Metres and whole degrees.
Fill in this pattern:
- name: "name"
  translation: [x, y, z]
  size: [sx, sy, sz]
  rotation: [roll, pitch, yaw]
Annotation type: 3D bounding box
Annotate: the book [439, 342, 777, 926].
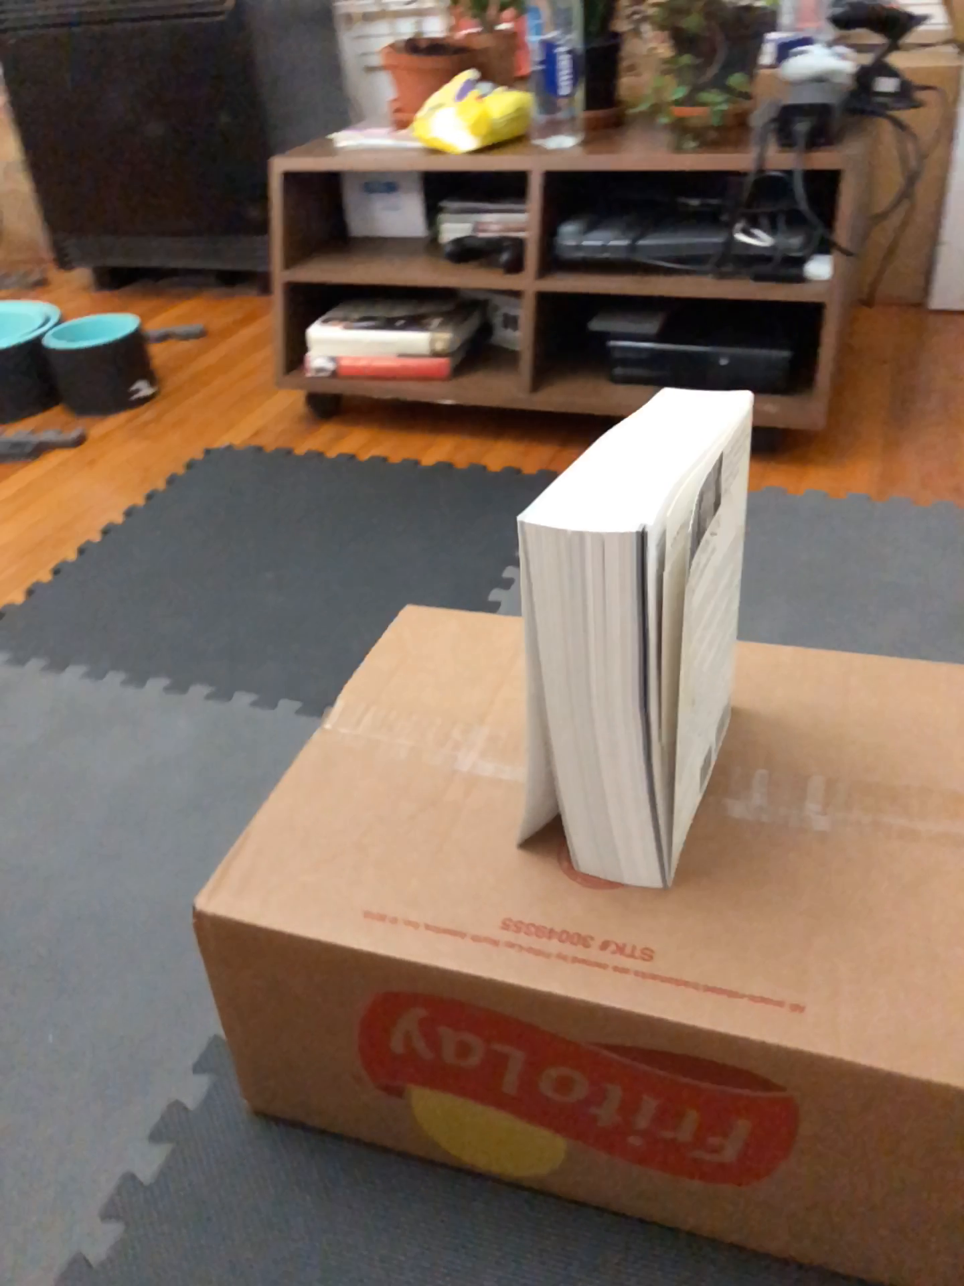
- name: "book"
  translation: [0.085, -0.012, 0.614]
  size: [0.090, 0.258, 0.201]
  rotation: [15, 38, 31]
